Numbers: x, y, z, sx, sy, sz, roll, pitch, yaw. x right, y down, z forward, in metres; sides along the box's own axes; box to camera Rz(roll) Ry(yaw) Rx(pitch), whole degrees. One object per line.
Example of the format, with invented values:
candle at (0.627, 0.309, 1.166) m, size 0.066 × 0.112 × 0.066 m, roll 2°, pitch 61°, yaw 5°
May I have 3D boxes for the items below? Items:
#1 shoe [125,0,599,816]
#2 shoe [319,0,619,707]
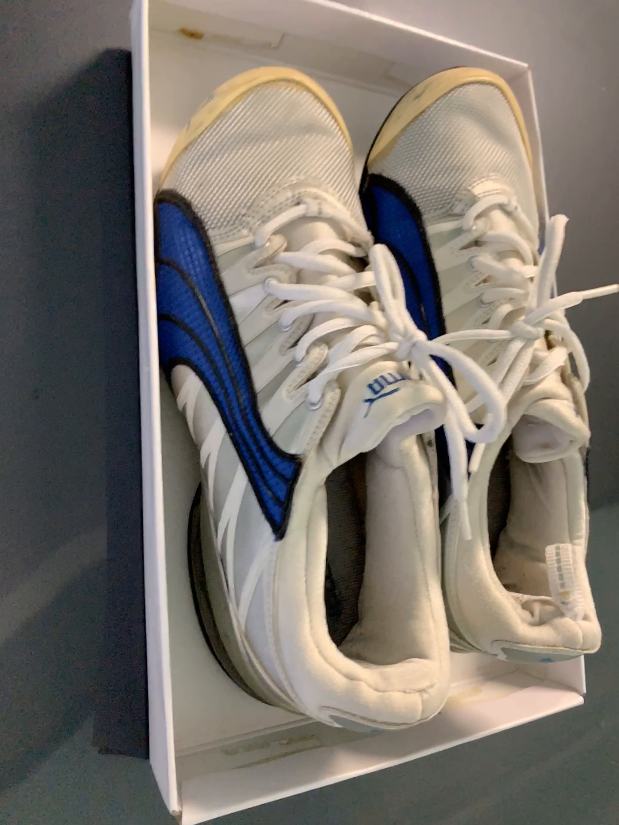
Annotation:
shoe at (0.005, -0.027, 0.253) m, size 0.110 × 0.089 × 0.281 m, roll -3°, pitch 77°, yaw -27°
shoe at (0.088, -0.035, 0.292) m, size 0.110 × 0.089 × 0.281 m, roll 1°, pitch 75°, yaw -26°
